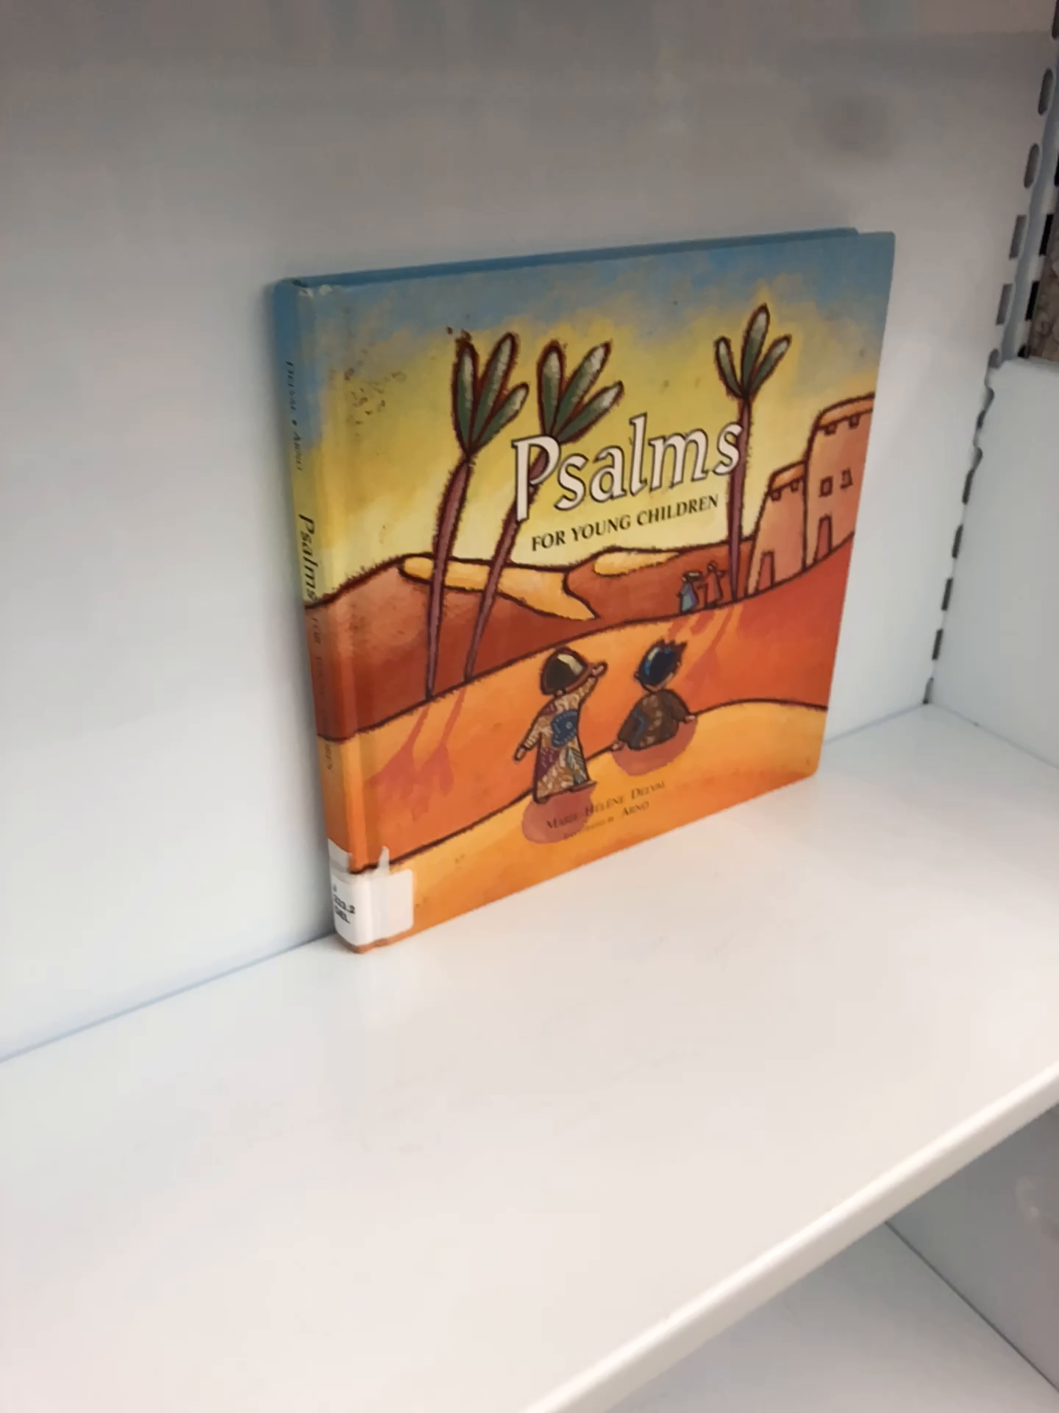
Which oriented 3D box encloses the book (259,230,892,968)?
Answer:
[{"bbox_3d":[0.024,-0.040,0.385,0.212,0.205,0.021,-18,33,-31],"label":"book"}]
